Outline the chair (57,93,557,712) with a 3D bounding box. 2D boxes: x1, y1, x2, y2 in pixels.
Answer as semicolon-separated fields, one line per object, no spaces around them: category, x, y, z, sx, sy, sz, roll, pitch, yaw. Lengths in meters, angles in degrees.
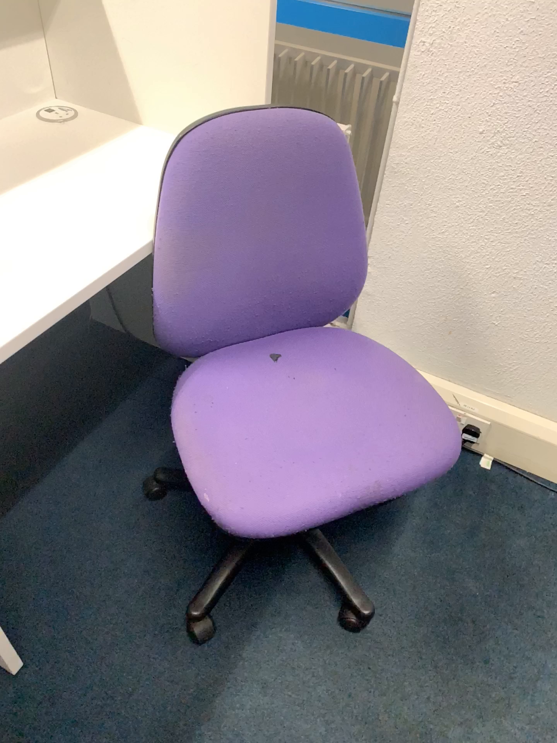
chair;0.055;0.040;1.111;0.691;0.862;0.655;-14;46;-19
